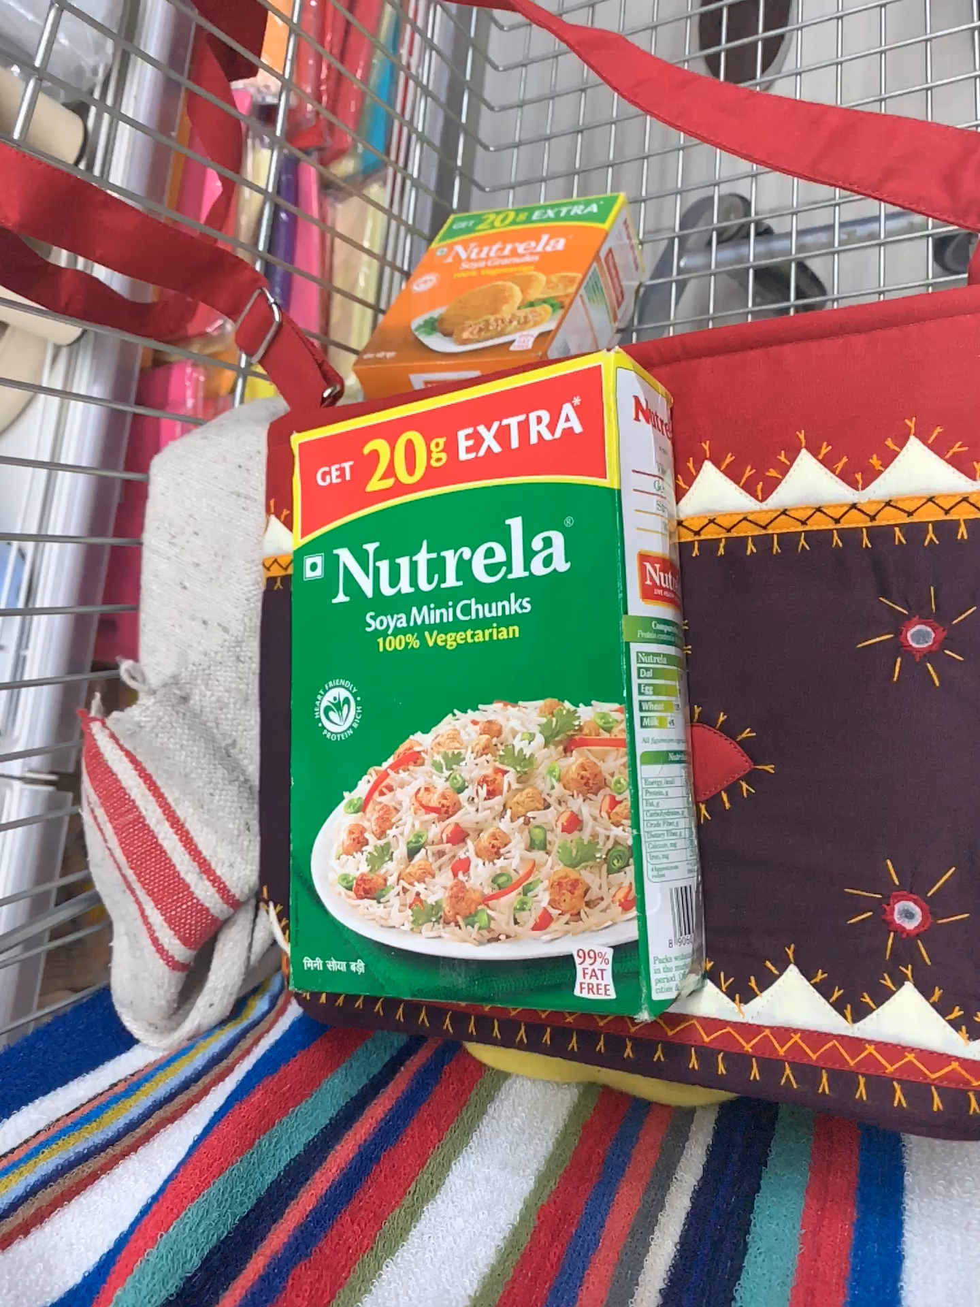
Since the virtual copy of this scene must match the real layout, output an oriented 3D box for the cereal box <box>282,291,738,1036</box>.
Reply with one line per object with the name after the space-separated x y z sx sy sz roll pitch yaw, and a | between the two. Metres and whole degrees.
0.001 0.007 0.306 0.121 0.050 0.190 -7 80 29 | cereal box
